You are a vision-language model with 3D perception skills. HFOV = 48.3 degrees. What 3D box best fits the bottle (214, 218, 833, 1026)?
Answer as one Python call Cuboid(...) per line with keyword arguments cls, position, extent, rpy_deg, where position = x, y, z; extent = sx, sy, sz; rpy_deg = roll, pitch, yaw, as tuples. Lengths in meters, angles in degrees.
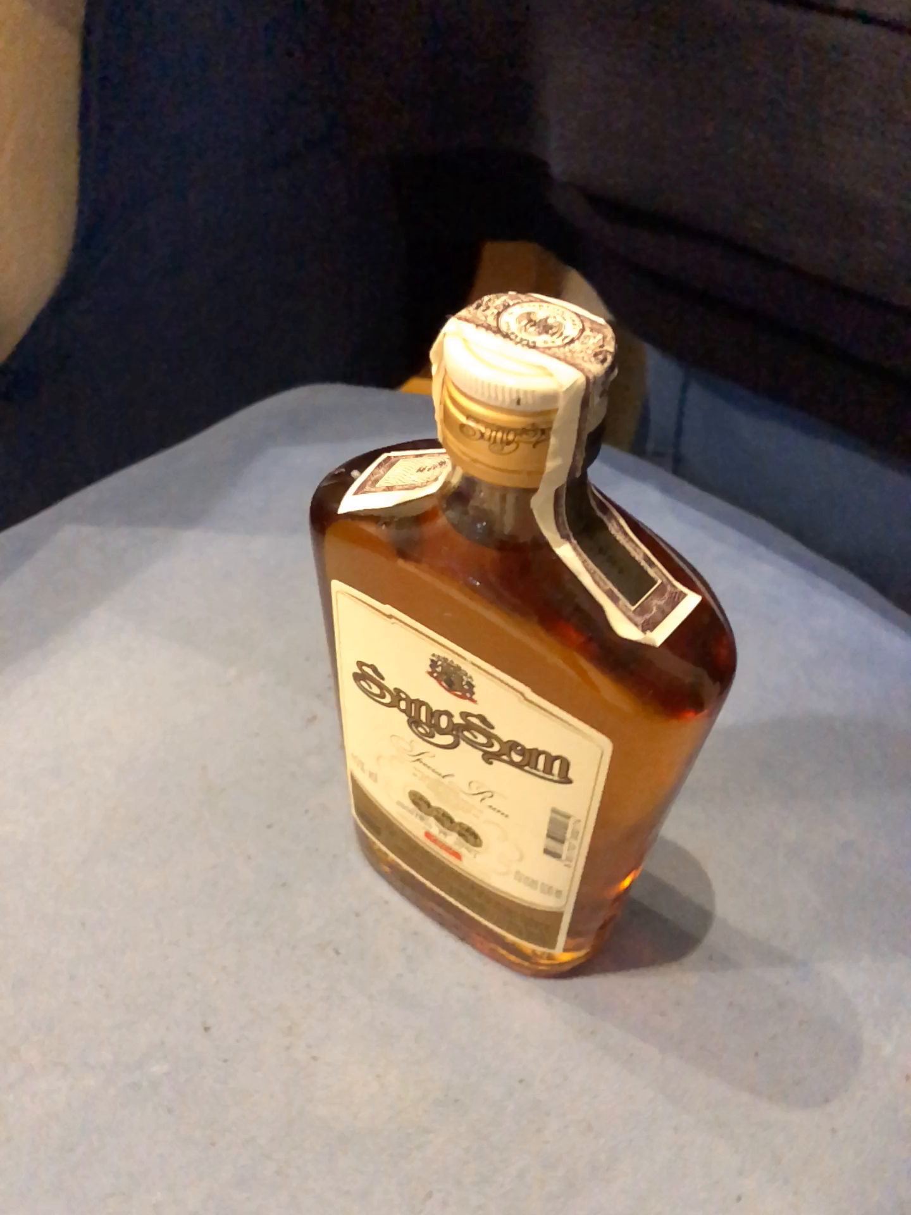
Cuboid(cls="bottle", position=(0.009, 0.019, 0.228), extent=(0.090, 0.179, 0.041), rpy_deg=(30, 56, 23))
